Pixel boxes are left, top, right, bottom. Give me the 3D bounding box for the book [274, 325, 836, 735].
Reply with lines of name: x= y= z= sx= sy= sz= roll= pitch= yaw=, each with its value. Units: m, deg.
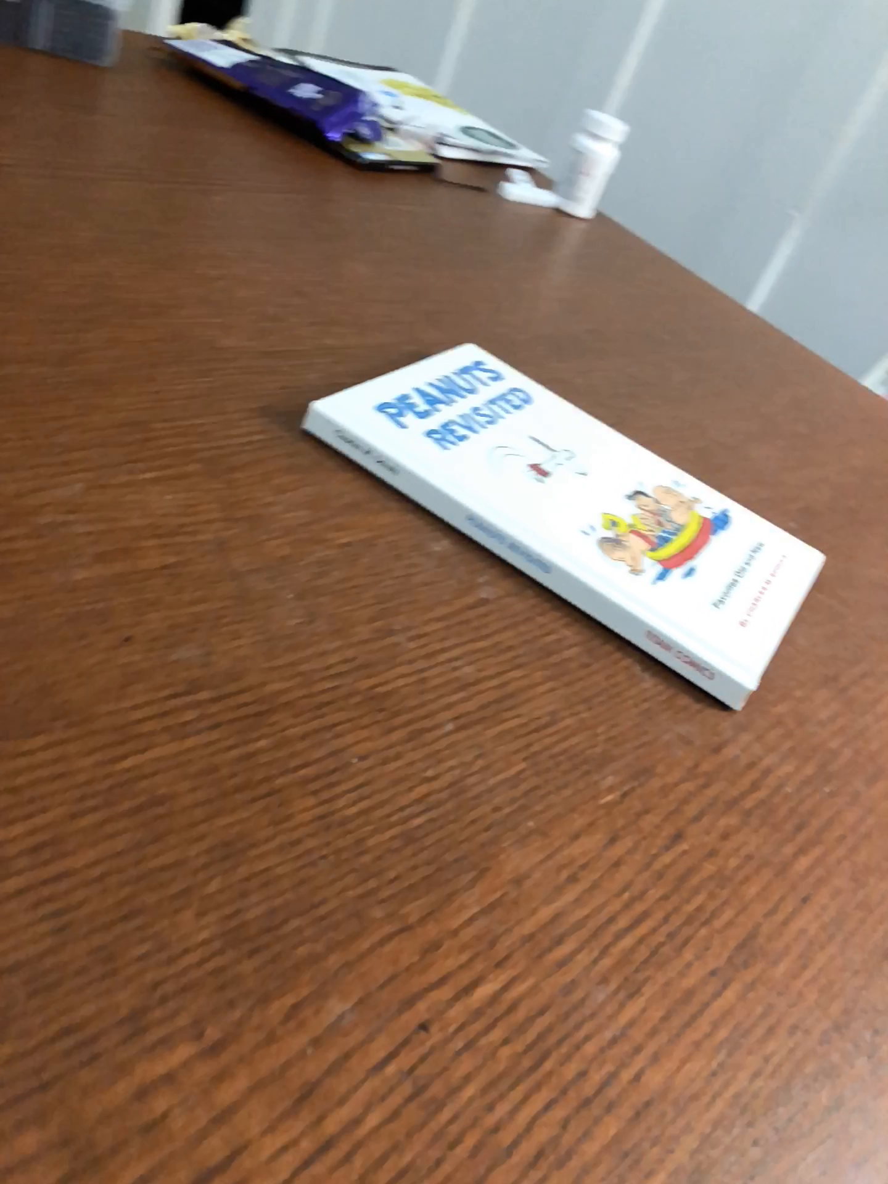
book: x=0.058 y=-0.044 z=0.438 sx=0.220 sy=0.020 sz=0.151 roll=34 pitch=36 yaw=14
